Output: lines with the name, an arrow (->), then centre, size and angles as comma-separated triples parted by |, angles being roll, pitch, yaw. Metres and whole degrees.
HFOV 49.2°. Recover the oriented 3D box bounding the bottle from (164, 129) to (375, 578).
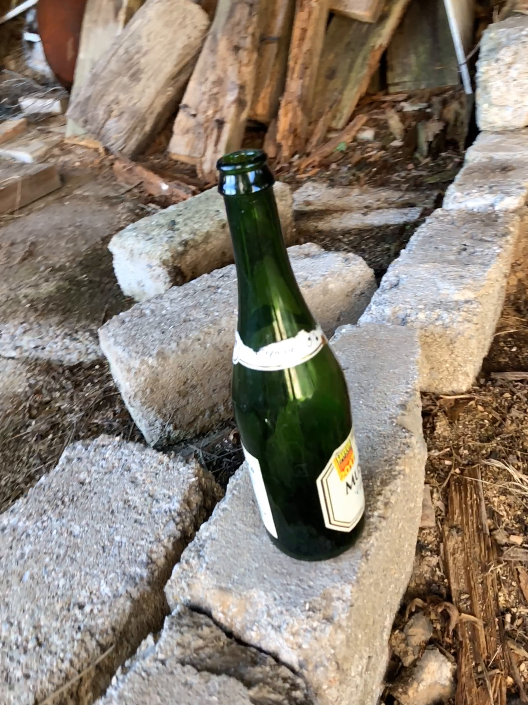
bottle -> 0.020, 0.017, 0.383 | 0.090, 0.288, 0.091 | -7, 31, 4
